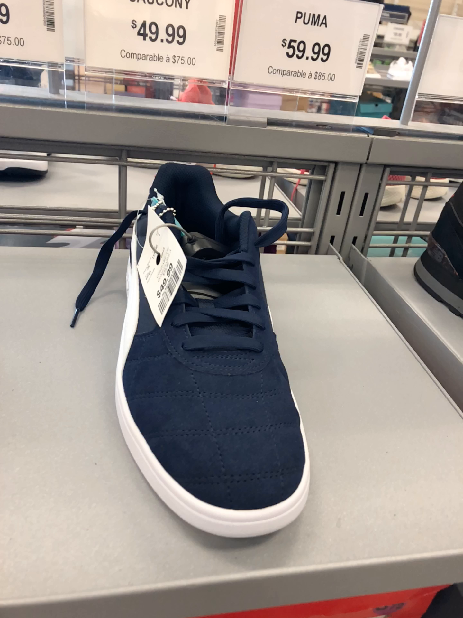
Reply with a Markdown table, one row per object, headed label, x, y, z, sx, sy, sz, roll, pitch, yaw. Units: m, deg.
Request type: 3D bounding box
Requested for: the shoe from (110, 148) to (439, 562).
| label | x | y | z | sx | sy | sz | roll | pitch | yaw |
| --- | --- | --- | --- | --- | --- | --- | --- | --- | --- |
| shoe | -0.011 | -0.003 | 0.310 | 0.119 | 0.119 | 0.242 | 0 | 31 | -14 |
